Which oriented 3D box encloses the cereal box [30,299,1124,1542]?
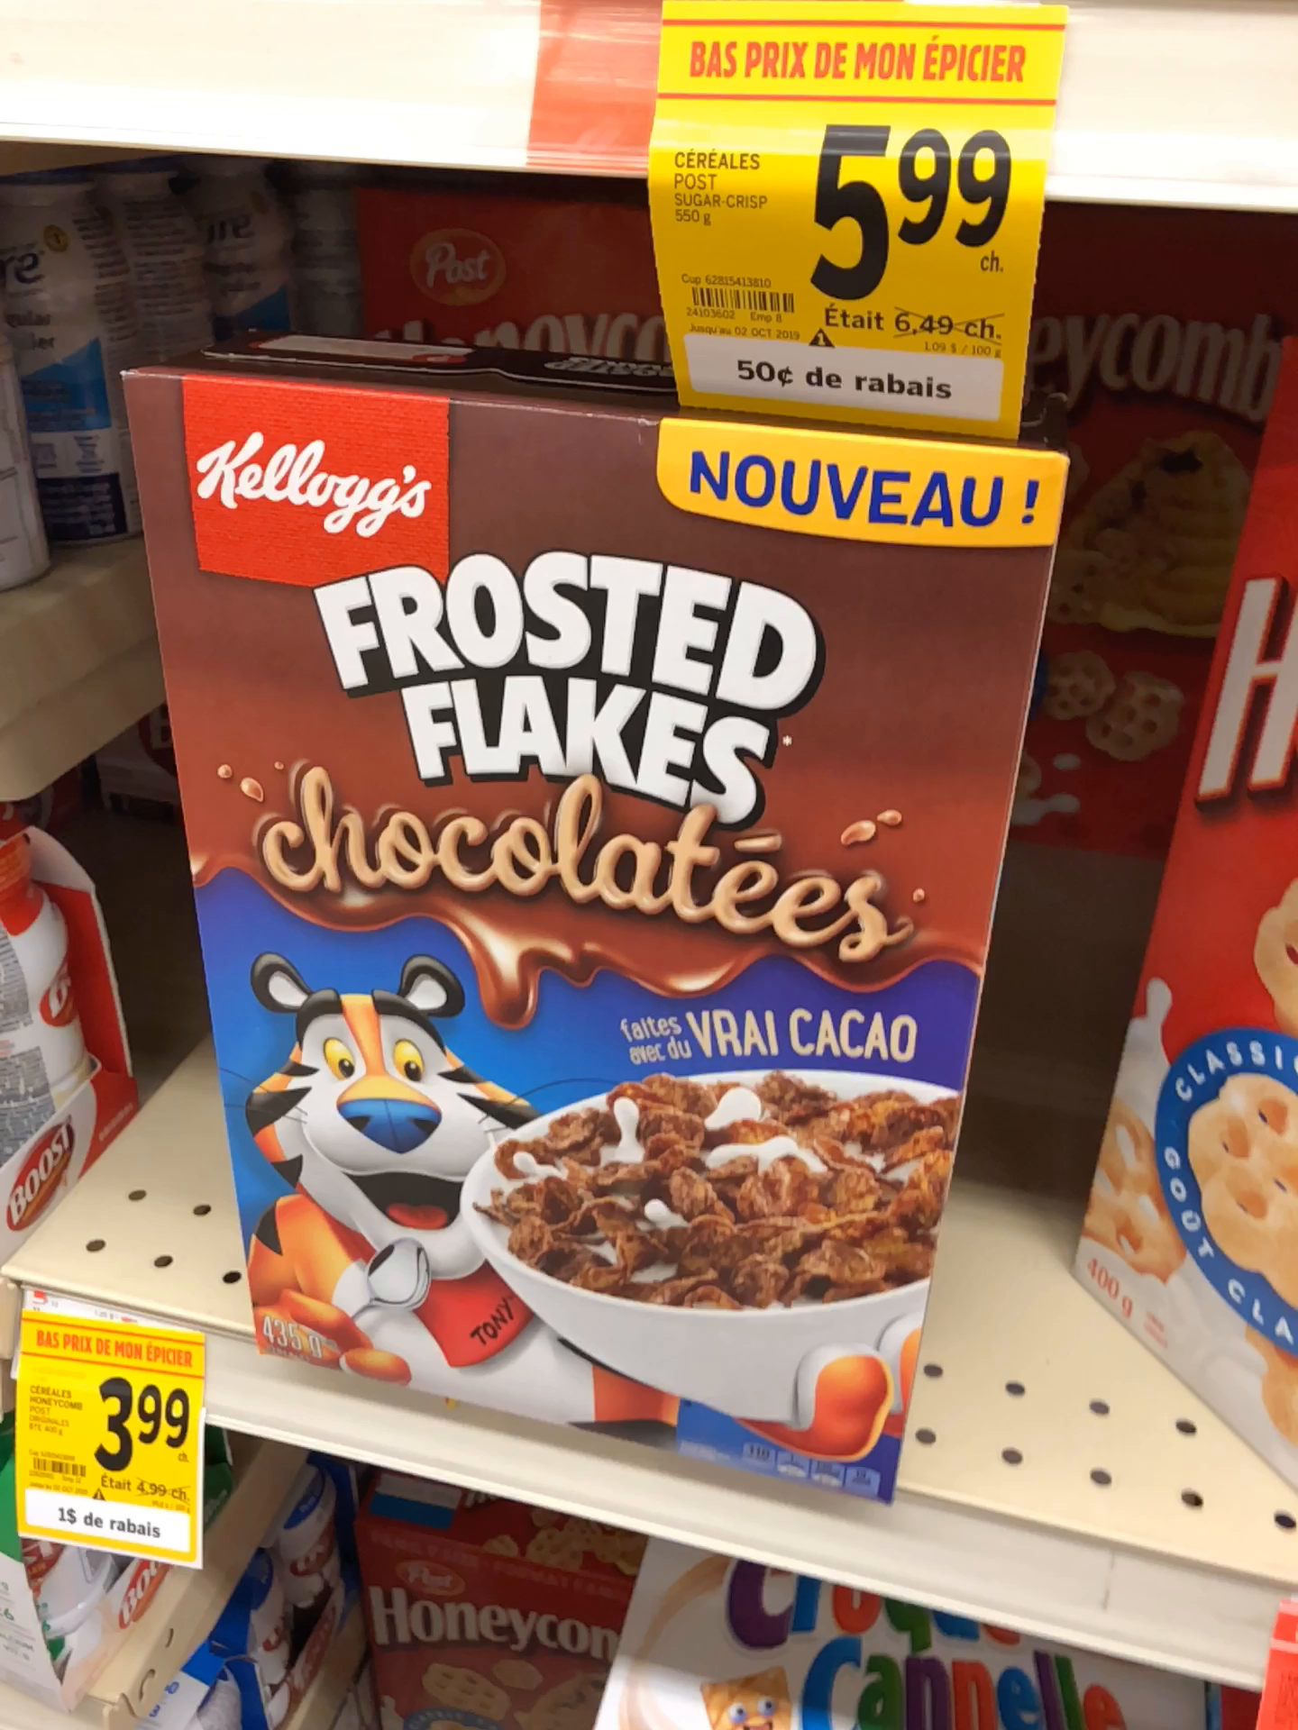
[{"bbox_3d":[-0.018,0.019,0.359,0.210,0.278,0.071,9,29,13],"label":"cereal box"}]
